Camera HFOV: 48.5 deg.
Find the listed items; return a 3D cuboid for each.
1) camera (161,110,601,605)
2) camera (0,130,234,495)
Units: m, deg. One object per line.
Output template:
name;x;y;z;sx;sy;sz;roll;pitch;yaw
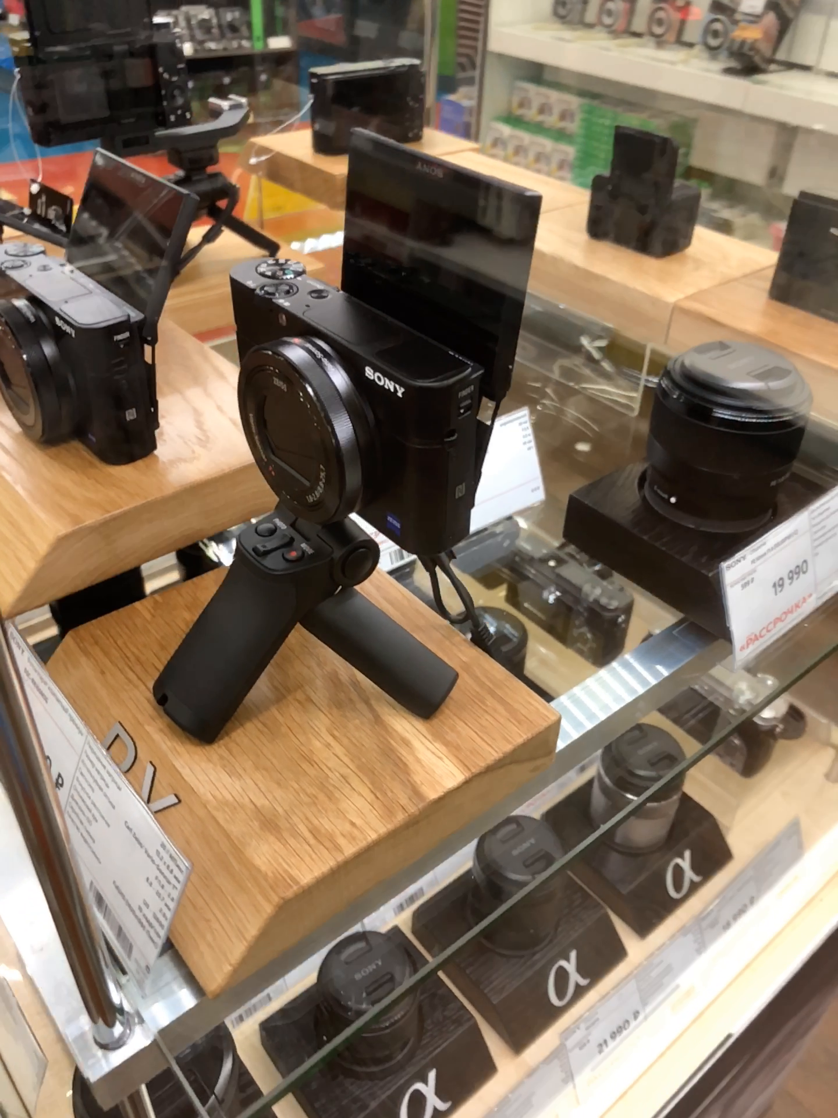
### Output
camera;-0.016;-0.064;0.272;0.062;0.097;0.109;-24;45;-31
camera;-0.135;-0.102;0.367;0.070;0.097;0.109;-24;45;-31
